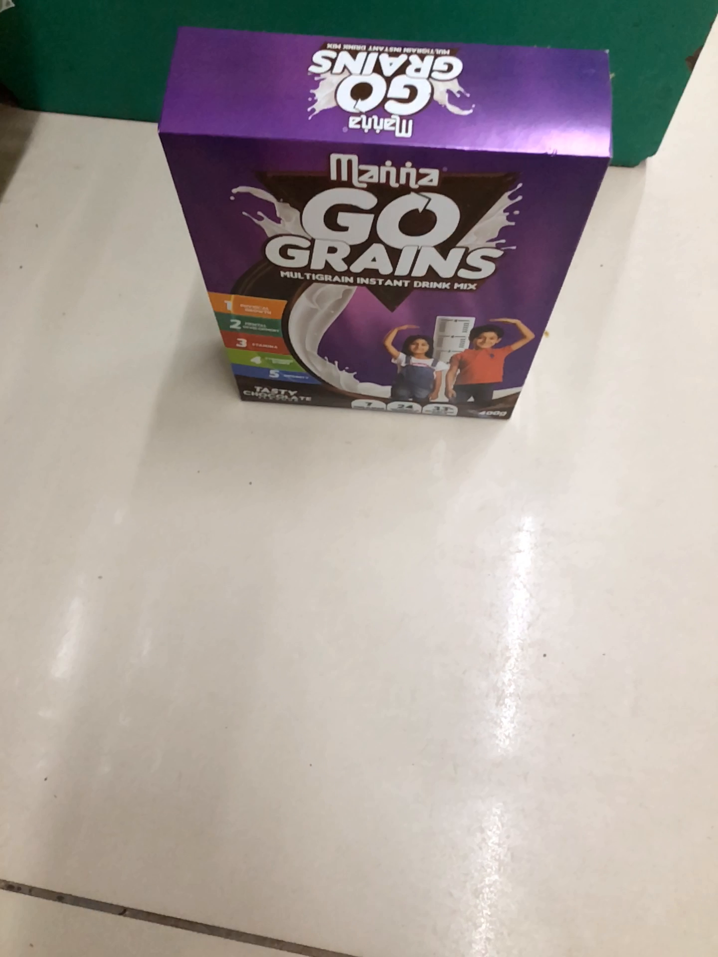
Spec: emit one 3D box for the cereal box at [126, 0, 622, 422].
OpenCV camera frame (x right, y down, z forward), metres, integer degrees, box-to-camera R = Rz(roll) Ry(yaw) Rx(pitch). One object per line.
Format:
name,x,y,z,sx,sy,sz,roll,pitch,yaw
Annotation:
cereal box,0.005,-0.094,0.338,0.150,0.189,0.050,3,67,1
